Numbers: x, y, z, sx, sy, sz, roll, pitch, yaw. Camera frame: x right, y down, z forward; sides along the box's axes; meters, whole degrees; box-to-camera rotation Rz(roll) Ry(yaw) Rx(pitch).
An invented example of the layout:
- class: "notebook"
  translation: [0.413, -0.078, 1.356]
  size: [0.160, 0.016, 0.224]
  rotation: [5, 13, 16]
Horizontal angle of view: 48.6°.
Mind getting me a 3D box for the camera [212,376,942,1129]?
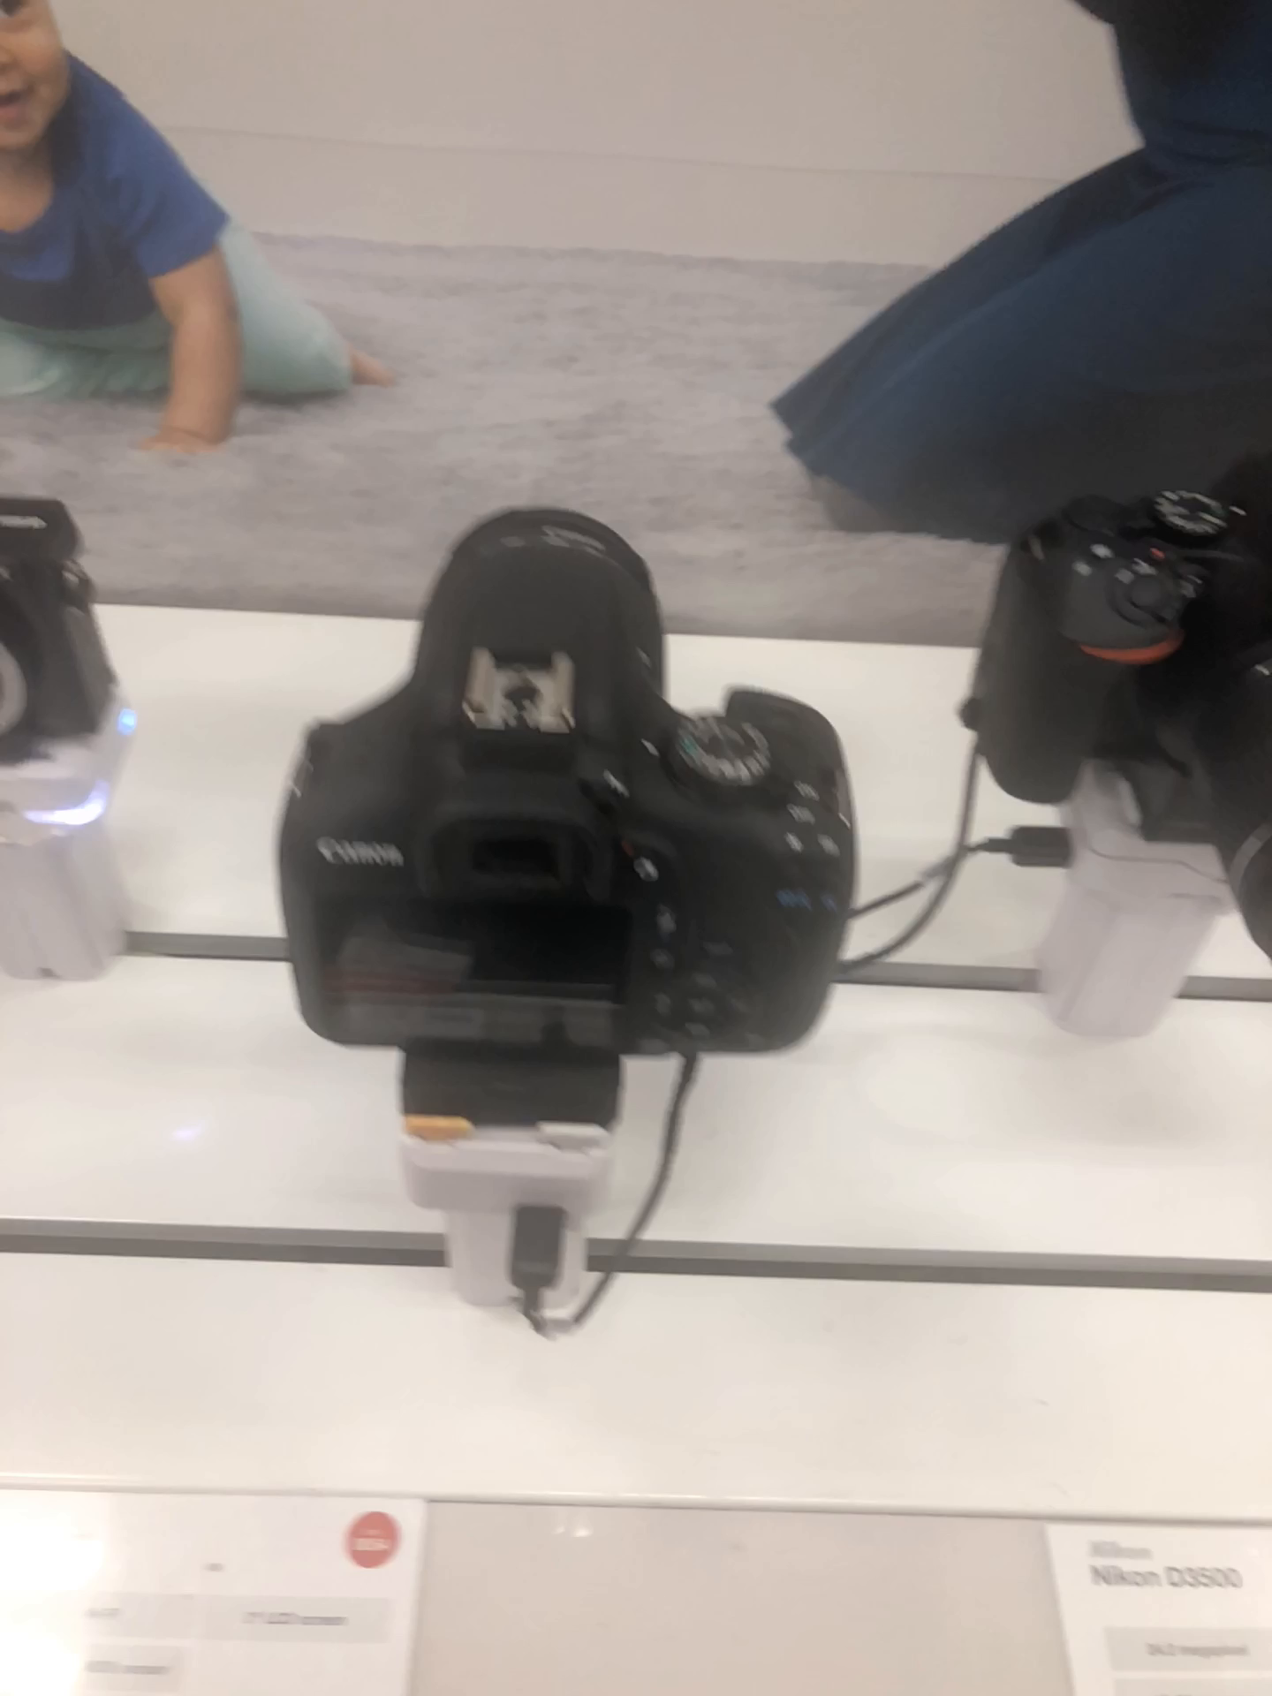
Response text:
- class: "camera"
  translation: [-0.011, -0.030, 0.360]
  size: [0.140, 0.089, 0.171]
  rotation: [3, 49, -2]
